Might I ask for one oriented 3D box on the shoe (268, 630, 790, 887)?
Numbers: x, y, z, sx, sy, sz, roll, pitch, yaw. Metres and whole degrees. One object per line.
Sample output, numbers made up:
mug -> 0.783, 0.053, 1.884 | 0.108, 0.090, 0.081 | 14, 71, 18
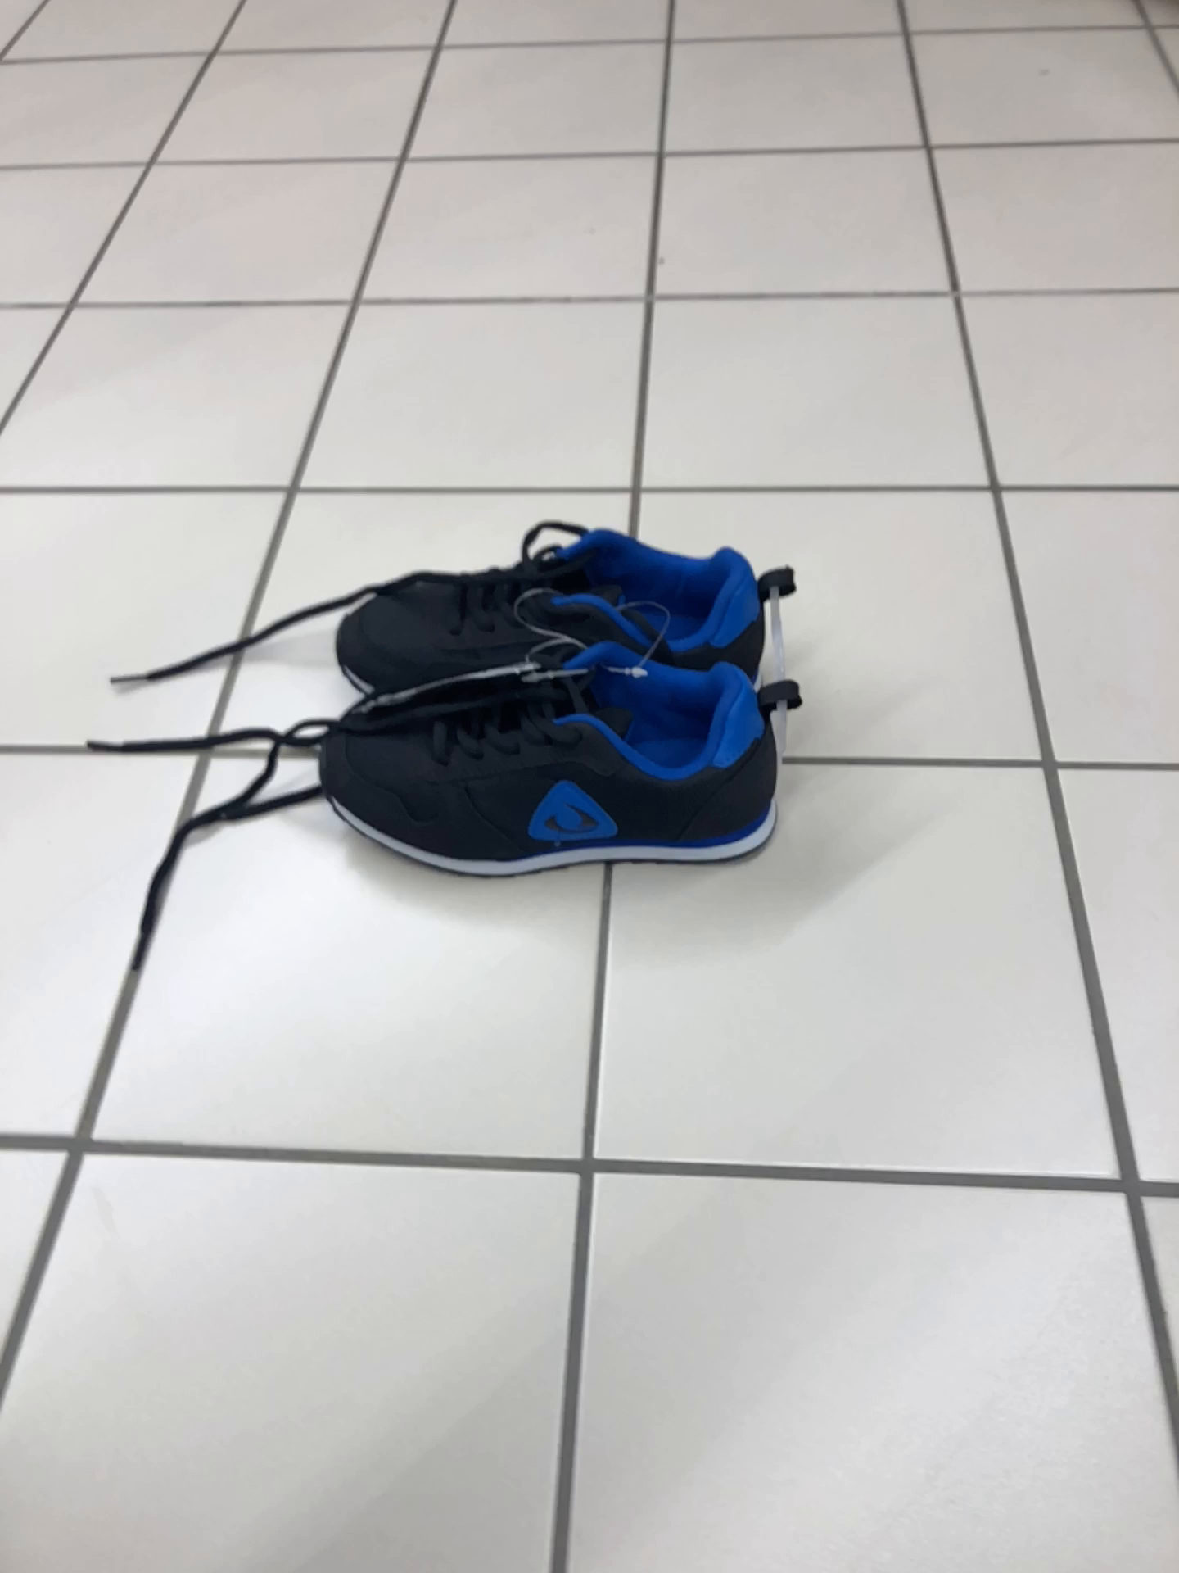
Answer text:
shoe -> -0.022, -0.011, 0.569 | 0.207, 0.082, 0.076 | 0, 51, 4

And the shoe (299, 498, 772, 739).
shoe -> -0.021, -0.079, 0.624 | 0.207, 0.082, 0.076 | 0, 51, 4
